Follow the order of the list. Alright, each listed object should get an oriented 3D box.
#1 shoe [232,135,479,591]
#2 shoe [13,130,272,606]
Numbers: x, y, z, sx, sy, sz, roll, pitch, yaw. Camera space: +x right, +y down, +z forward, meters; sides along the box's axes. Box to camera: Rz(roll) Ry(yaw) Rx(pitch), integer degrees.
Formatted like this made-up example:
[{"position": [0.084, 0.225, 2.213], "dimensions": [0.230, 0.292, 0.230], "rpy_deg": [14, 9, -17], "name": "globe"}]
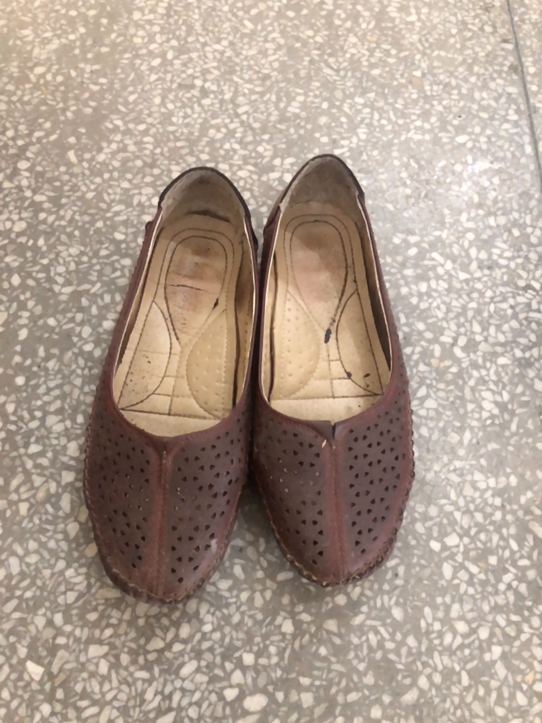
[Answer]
[{"position": [0.031, -0.002, 0.328], "dimensions": [0.095, 0.080, 0.231], "rpy_deg": [-2, 68, -4], "name": "shoe"}, {"position": [-0.053, 0.001, 0.324], "dimensions": [0.087, 0.080, 0.236], "rpy_deg": [5, 68, -1], "name": "shoe"}]
